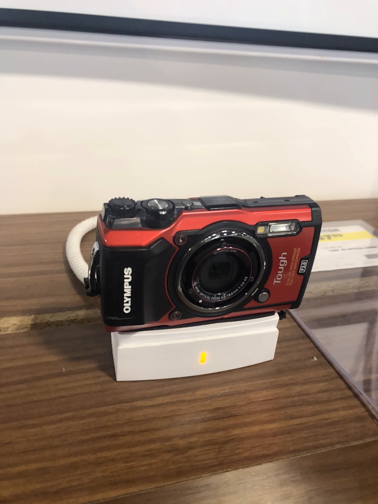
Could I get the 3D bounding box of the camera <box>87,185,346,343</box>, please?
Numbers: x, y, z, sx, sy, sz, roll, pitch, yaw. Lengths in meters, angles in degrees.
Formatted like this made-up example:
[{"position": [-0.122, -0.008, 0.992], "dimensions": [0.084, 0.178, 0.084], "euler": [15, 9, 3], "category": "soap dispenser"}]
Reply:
[{"position": [0.011, 0.003, 0.209], "dimensions": [0.117, 0.064, 0.030], "euler": [-4, 27, -15], "category": "camera"}]
